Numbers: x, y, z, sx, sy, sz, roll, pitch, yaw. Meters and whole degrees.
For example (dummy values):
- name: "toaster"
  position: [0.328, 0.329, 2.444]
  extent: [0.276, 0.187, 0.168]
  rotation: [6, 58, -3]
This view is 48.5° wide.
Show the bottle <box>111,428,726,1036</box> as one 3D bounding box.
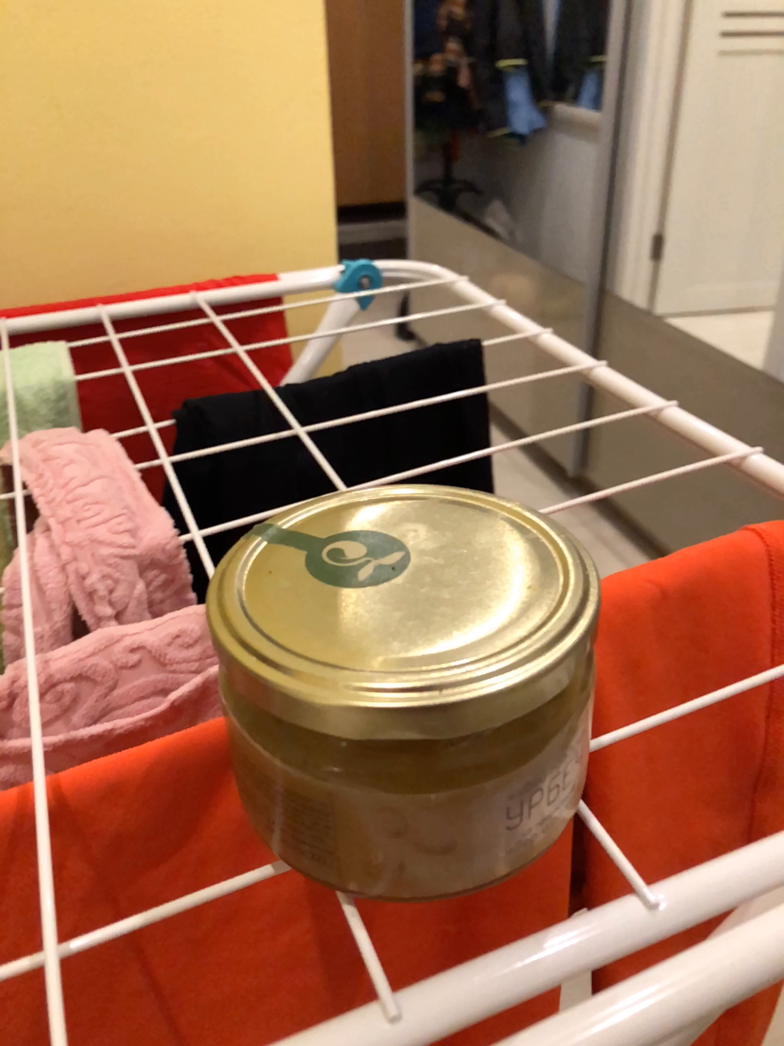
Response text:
- name: "bottle"
  position: [0.007, 0.032, 0.194]
  extent: [0.090, 0.060, 0.090]
  rotation: [-1, 30, 1]
